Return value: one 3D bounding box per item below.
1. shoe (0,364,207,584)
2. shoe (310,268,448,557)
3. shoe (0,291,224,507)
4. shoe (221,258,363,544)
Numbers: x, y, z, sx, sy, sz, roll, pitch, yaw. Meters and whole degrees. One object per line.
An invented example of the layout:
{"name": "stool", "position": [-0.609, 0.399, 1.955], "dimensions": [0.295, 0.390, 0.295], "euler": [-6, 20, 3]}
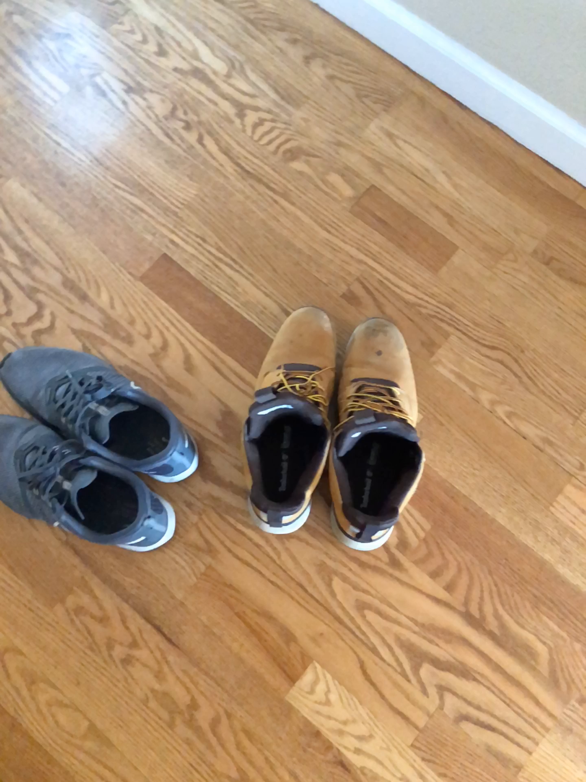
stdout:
{"name": "shoe", "position": [-0.293, 0.109, 0.834], "dimensions": [0.320, 0.100, 0.140], "euler": [26, 77, 7]}
{"name": "shoe", "position": [0.103, 0.032, 0.785], "dimensions": [0.130, 0.140, 0.320], "euler": [6, 76, 2]}
{"name": "shoe", "position": [-0.276, 0.013, 0.860], "dimensions": [0.330, 0.100, 0.140], "euler": [26, 77, 7]}
{"name": "shoe", "position": [0.004, 0.018, 0.795], "dimensions": [0.130, 0.140, 0.320], "euler": [6, 76, 2]}
